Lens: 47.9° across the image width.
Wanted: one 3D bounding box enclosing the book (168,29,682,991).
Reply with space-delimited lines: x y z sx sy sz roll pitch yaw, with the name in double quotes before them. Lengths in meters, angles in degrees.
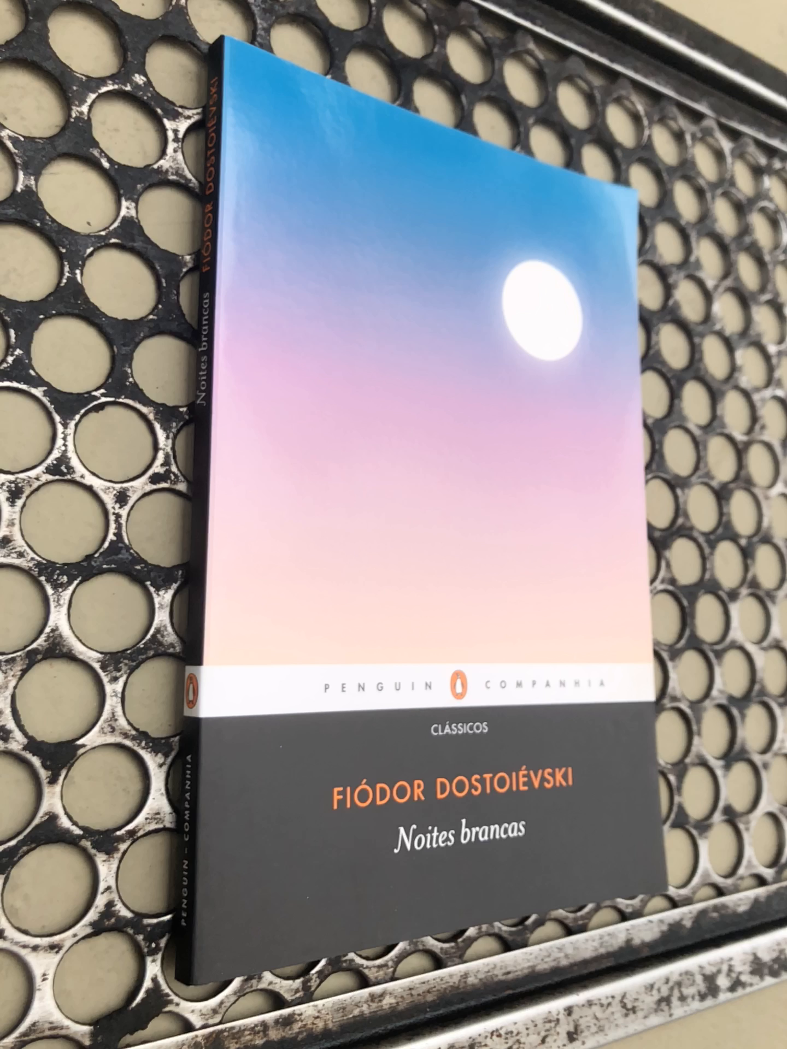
"book" 0.017 -0.005 0.213 0.133 0.010 0.191 6 80 -32
